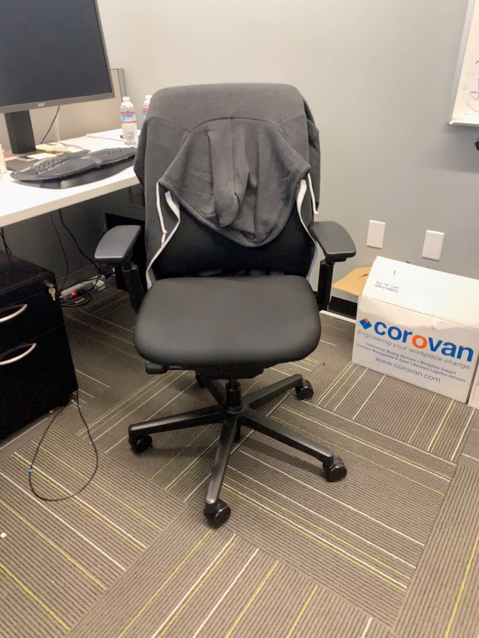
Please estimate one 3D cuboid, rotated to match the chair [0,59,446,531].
[{"bbox_3d":[-0.040,-0.129,1.412,0.750,1.074,0.885,0,30,1],"label":"chair"}]
